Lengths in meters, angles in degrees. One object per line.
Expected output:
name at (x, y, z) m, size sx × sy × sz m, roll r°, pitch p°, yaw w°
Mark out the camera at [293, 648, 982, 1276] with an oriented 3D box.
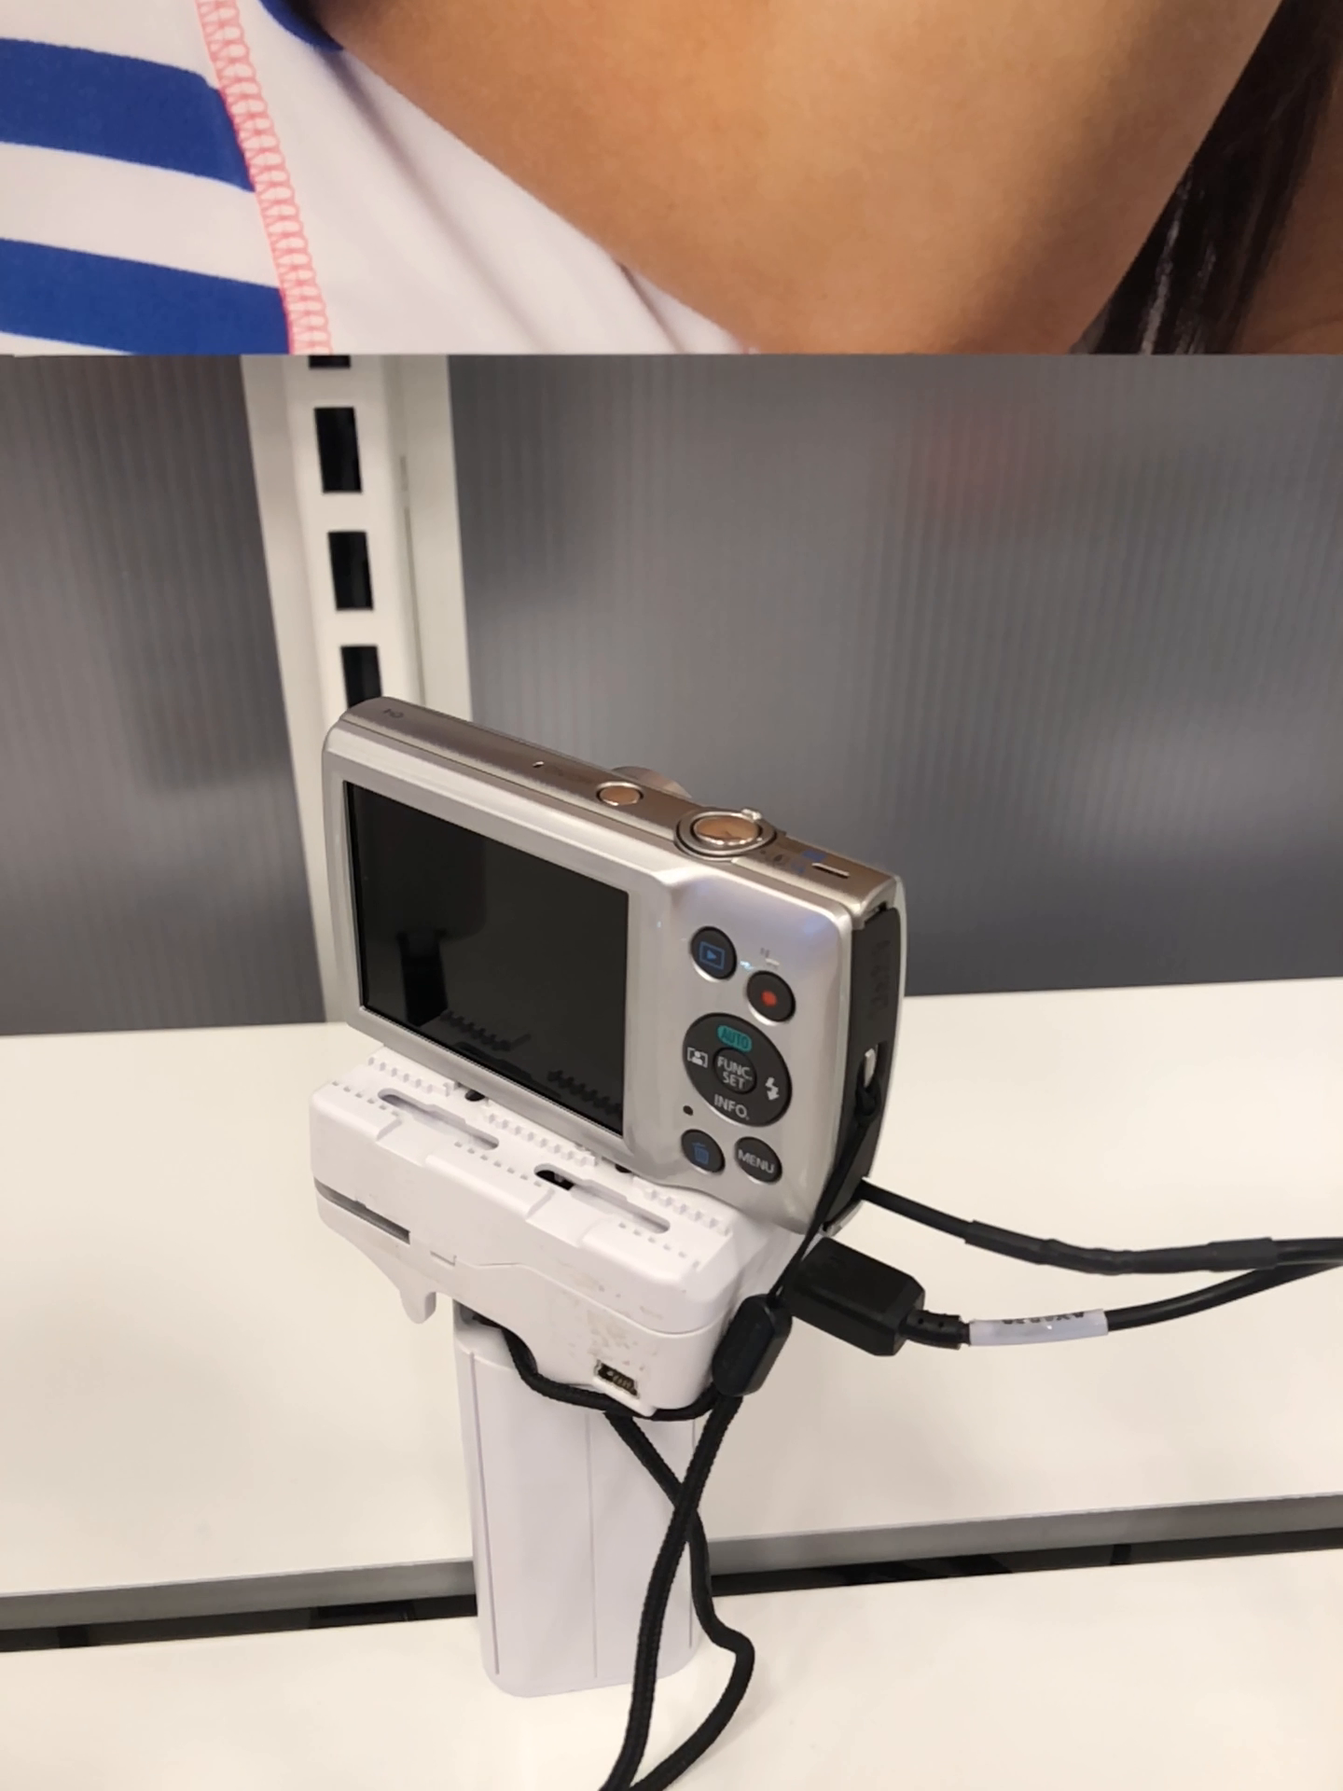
camera at (-0.007, 0.005, 0.223) m, size 0.089 × 0.055 × 0.043 m, roll 20°, pitch 35°, yaw 30°
